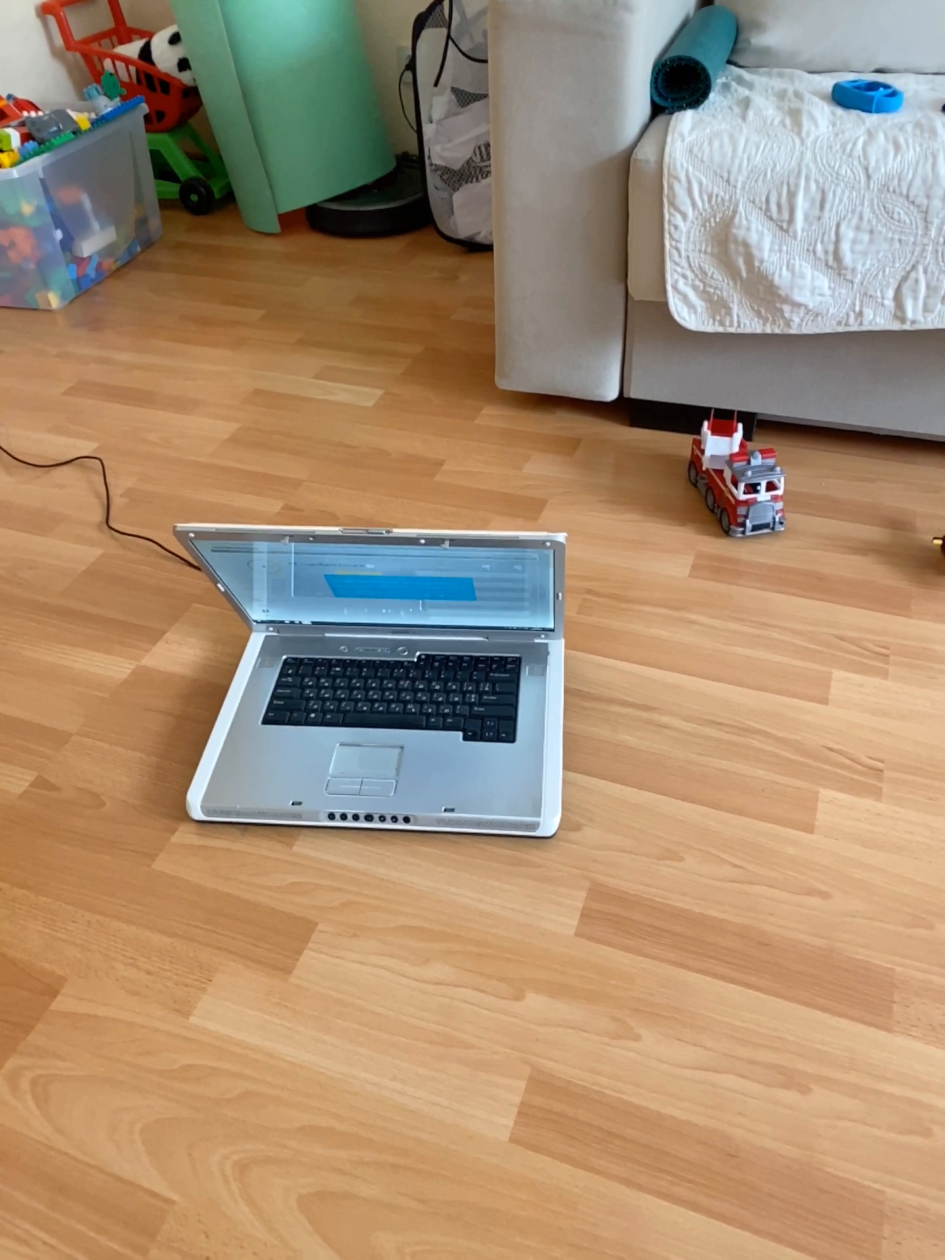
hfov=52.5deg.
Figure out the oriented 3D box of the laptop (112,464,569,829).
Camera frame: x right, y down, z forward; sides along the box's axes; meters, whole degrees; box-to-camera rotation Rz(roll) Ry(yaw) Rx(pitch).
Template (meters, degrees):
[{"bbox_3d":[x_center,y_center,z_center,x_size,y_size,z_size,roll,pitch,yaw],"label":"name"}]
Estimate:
[{"bbox_3d":[-0.099,0.008,0.981,0.386,0.238,0.275,2,41,5],"label":"laptop"}]
